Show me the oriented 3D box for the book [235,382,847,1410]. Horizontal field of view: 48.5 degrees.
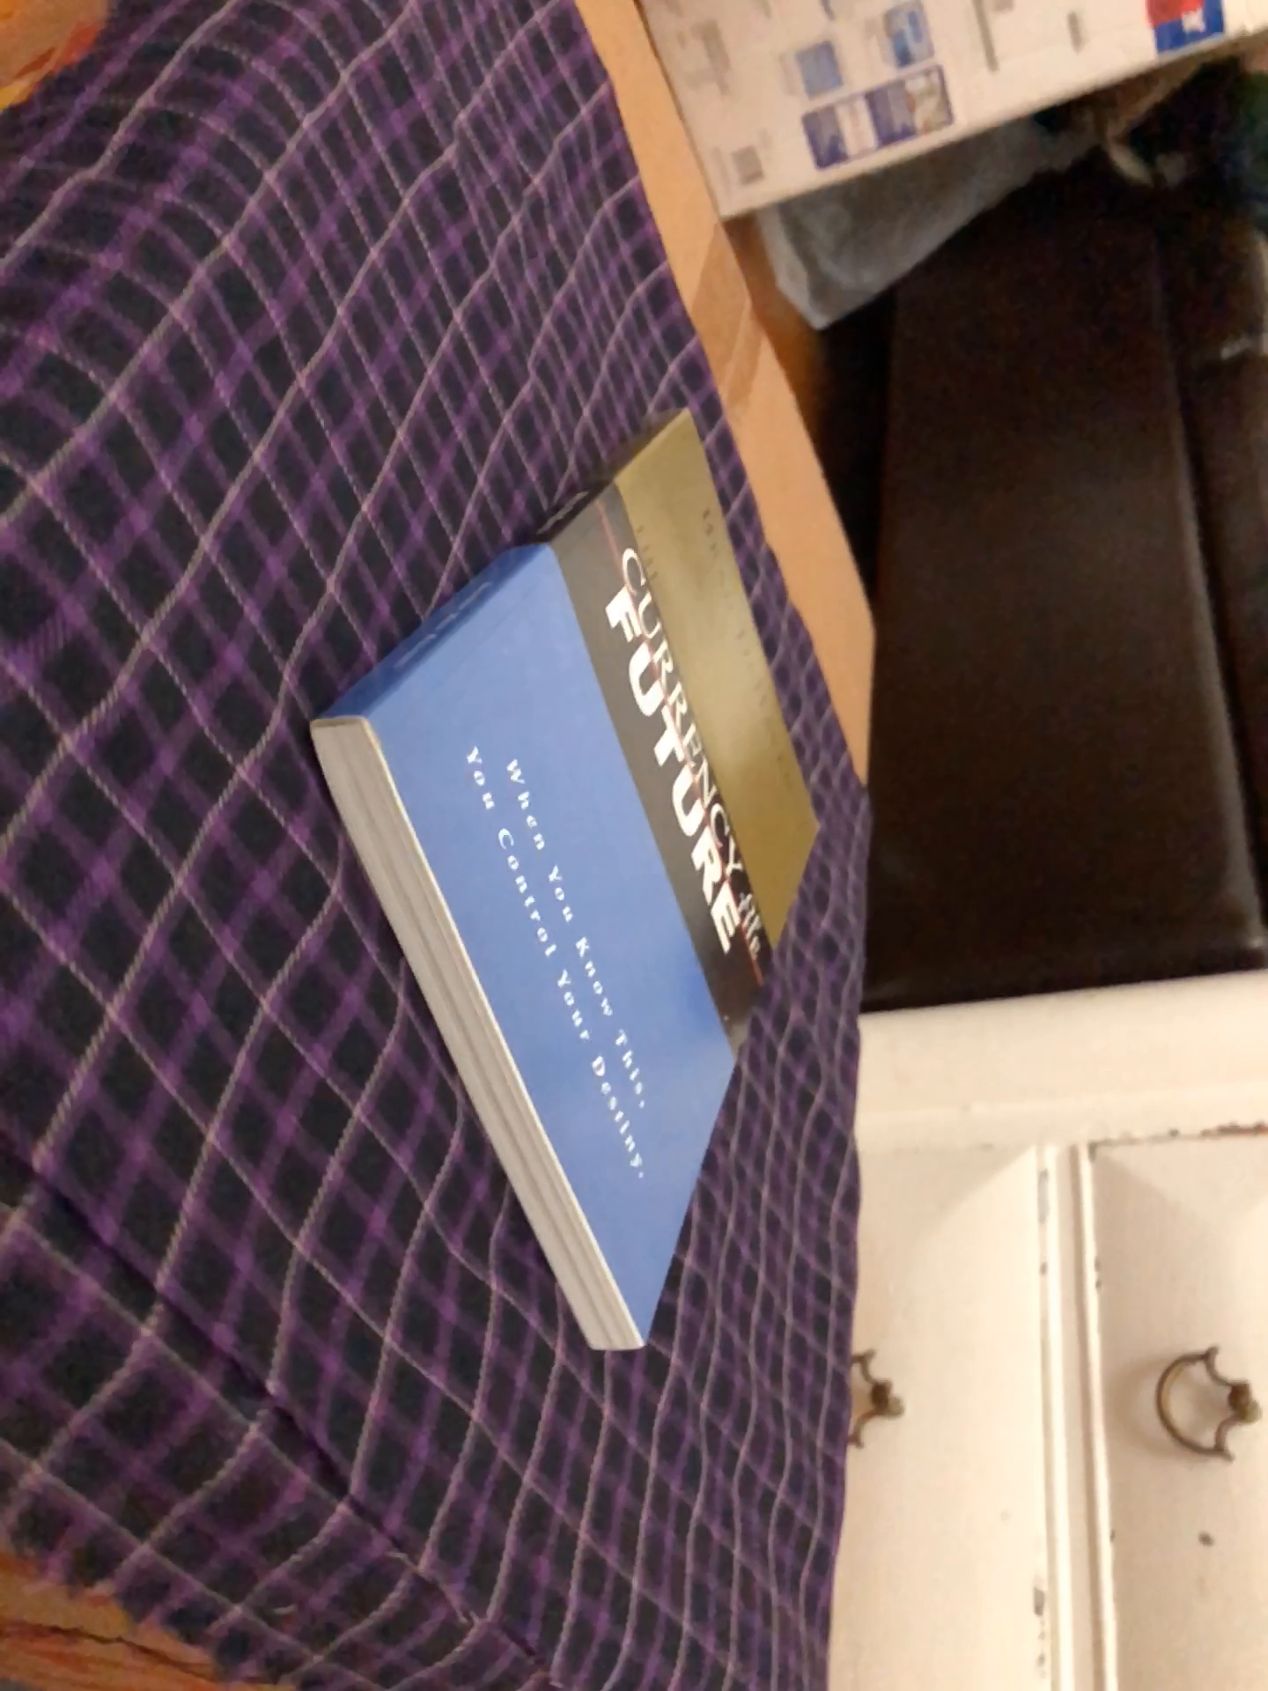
[{"bbox_3d":[0.004,-0.010,0.332,0.221,0.020,0.150,-60,134,-56],"label":"book"}]
